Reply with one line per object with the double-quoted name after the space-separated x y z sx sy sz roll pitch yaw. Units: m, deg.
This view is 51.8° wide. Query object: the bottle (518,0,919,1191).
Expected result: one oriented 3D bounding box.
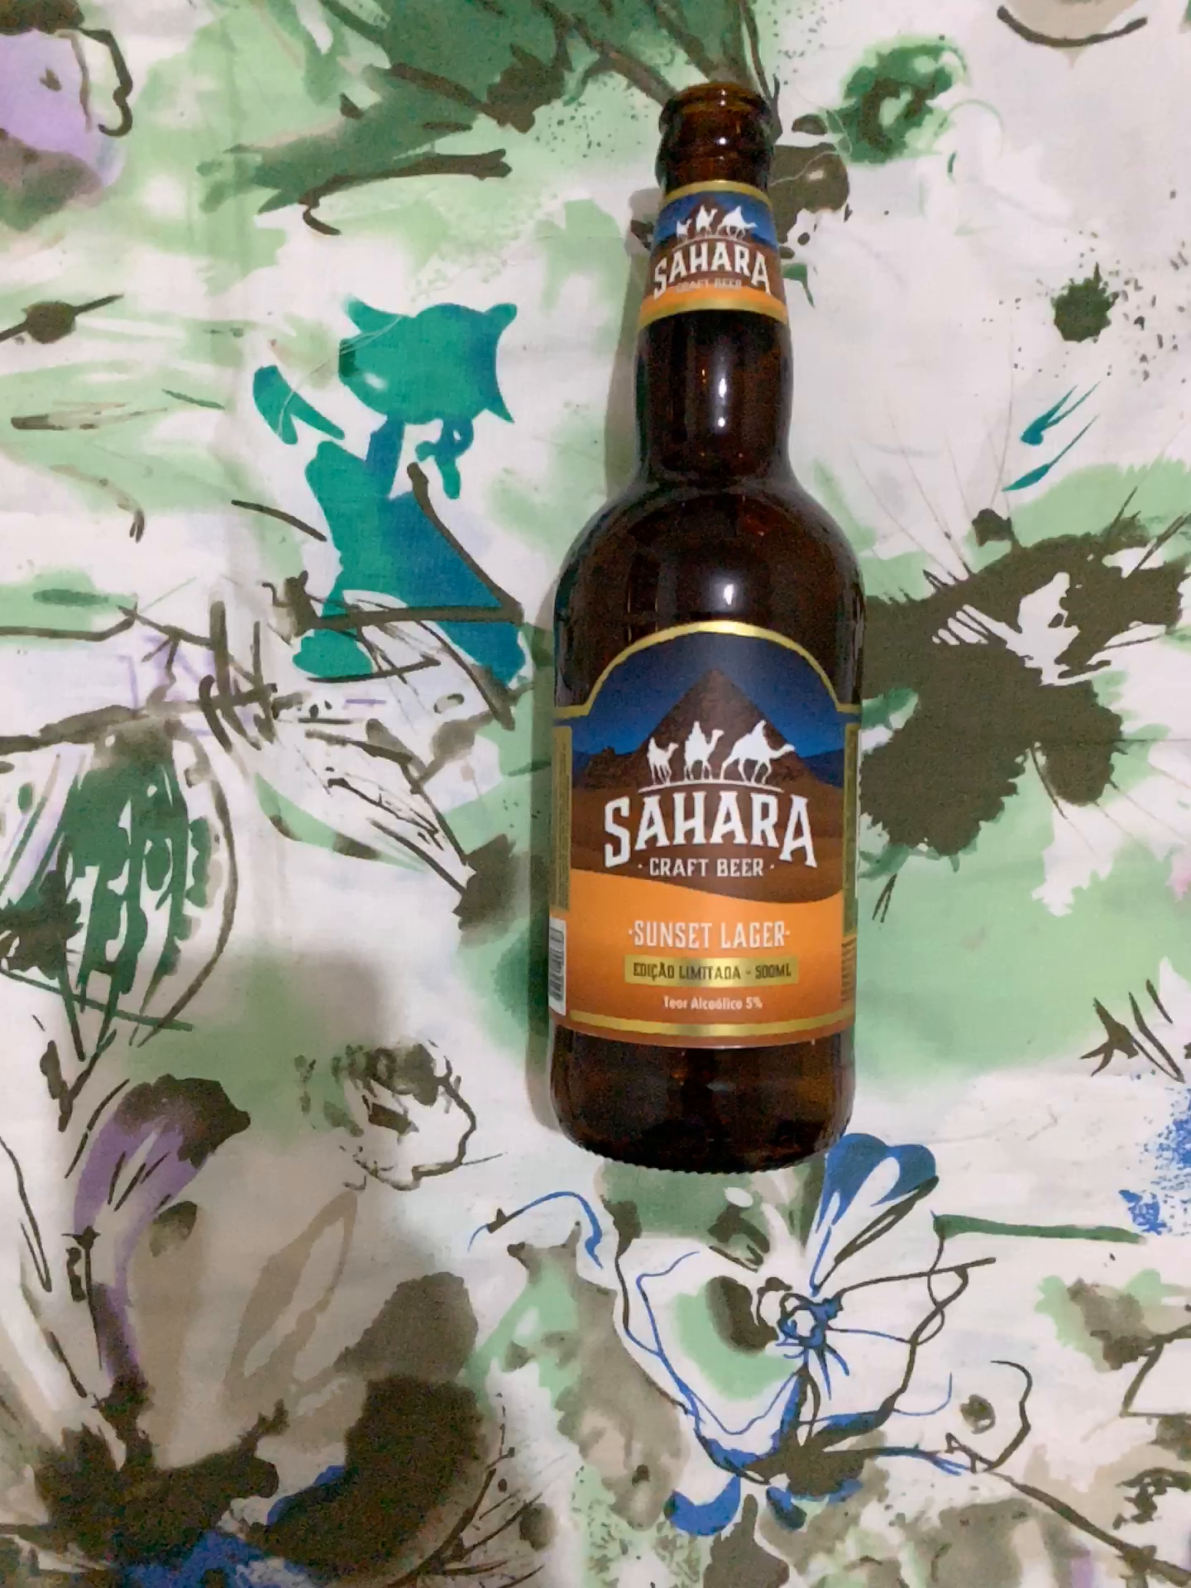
0.024 -0.042 0.290 0.080 0.070 0.250 0 93 -1 "bottle"
